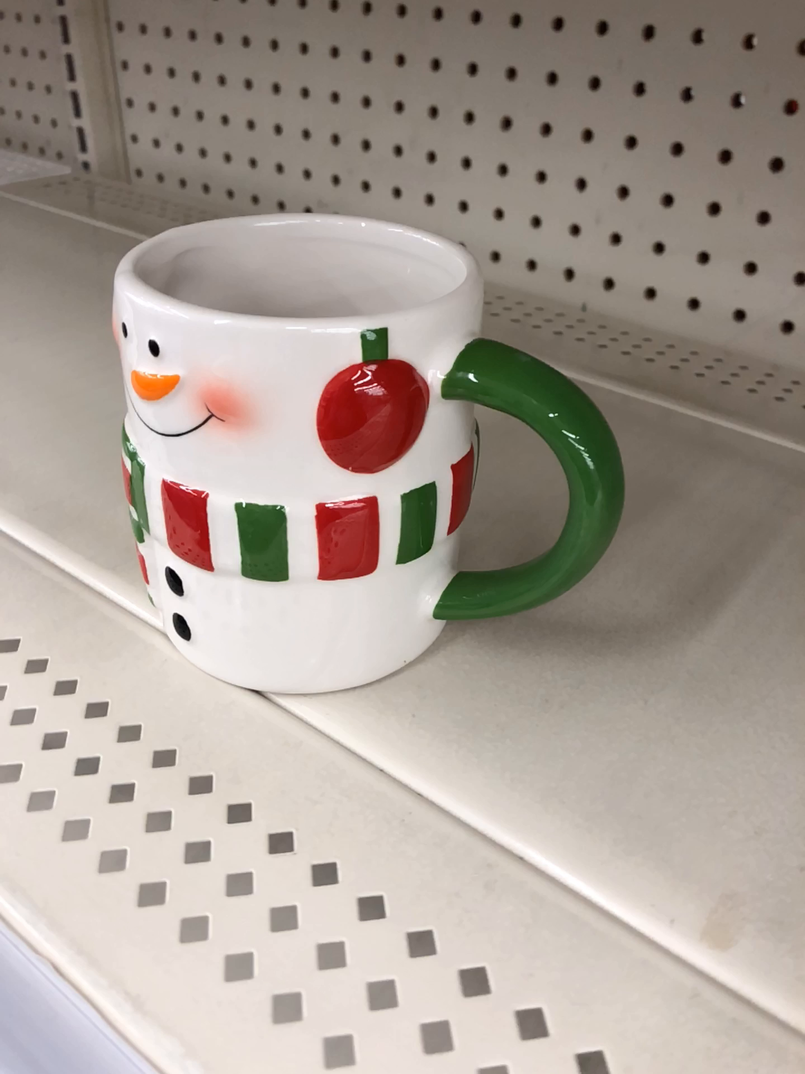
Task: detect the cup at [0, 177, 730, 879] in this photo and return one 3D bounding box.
[{"bbox_3d":[-0.009,-0.014,0.223,0.130,0.110,0.090,21,39,26],"label":"cup"}]
